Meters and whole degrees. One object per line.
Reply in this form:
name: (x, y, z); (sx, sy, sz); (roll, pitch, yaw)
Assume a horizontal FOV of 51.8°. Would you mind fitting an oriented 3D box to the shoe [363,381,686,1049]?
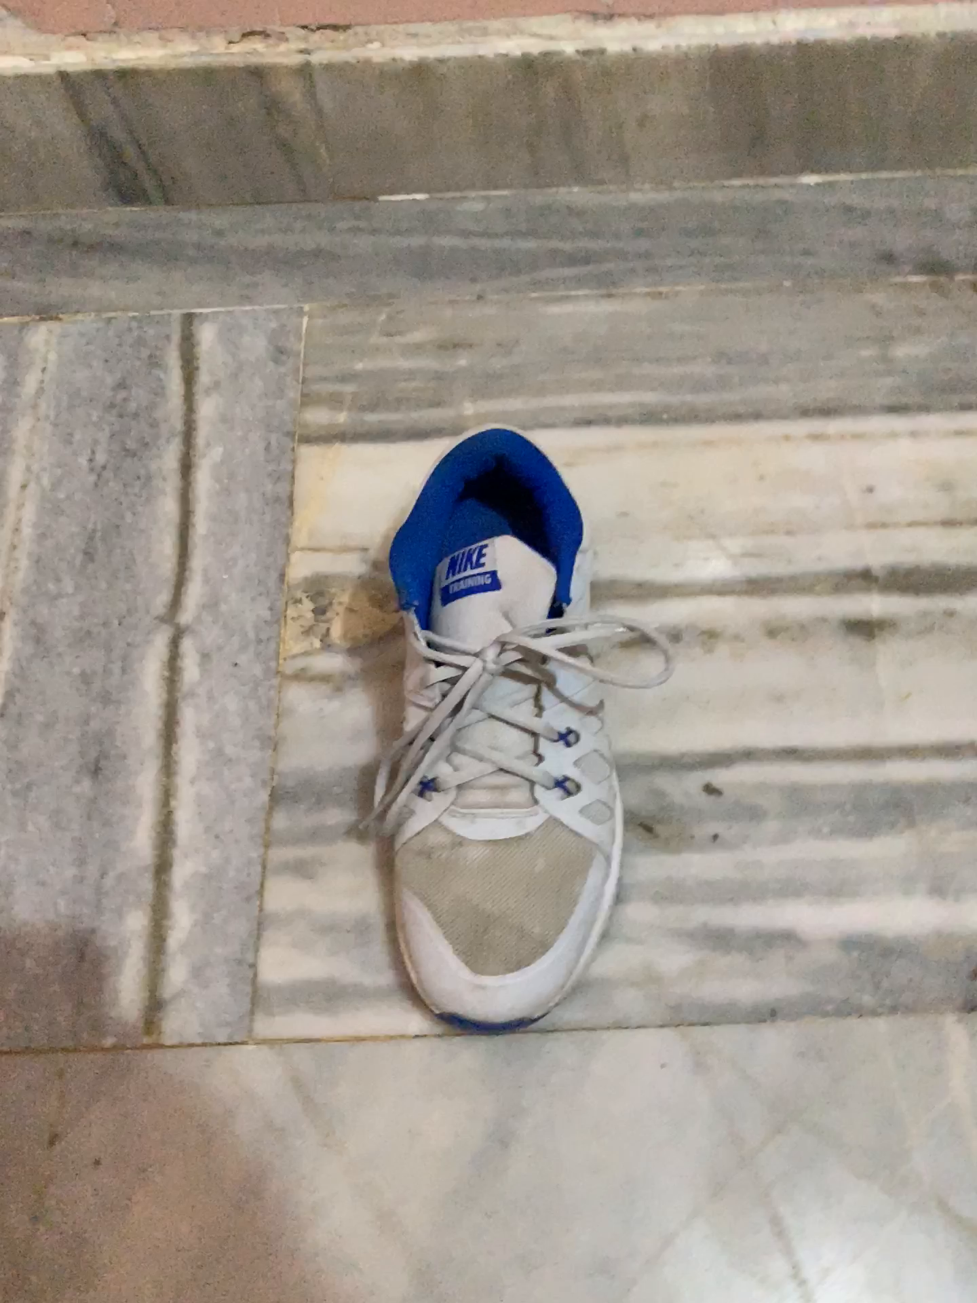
shoe: (0.014, 0.022, 0.475); (0.116, 0.100, 0.300); (-1, 62, 1)
